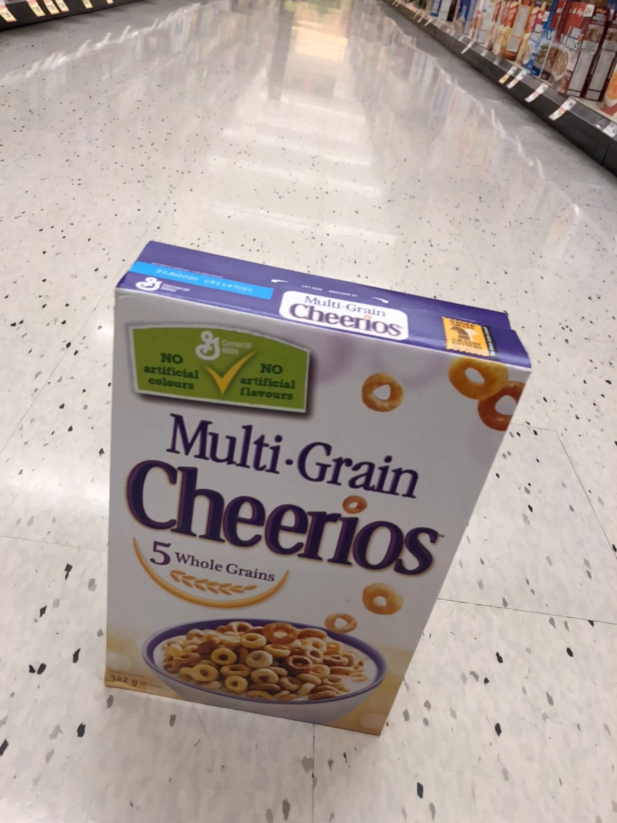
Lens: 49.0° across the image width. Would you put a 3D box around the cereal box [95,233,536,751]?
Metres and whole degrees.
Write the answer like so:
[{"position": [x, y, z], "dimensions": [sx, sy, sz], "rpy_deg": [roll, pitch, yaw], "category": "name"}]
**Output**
[{"position": [-0.020, 0.071, 0.402], "dimensions": [0.190, 0.308, 0.060], "rpy_deg": [11, 33, -3], "category": "cereal box"}]
